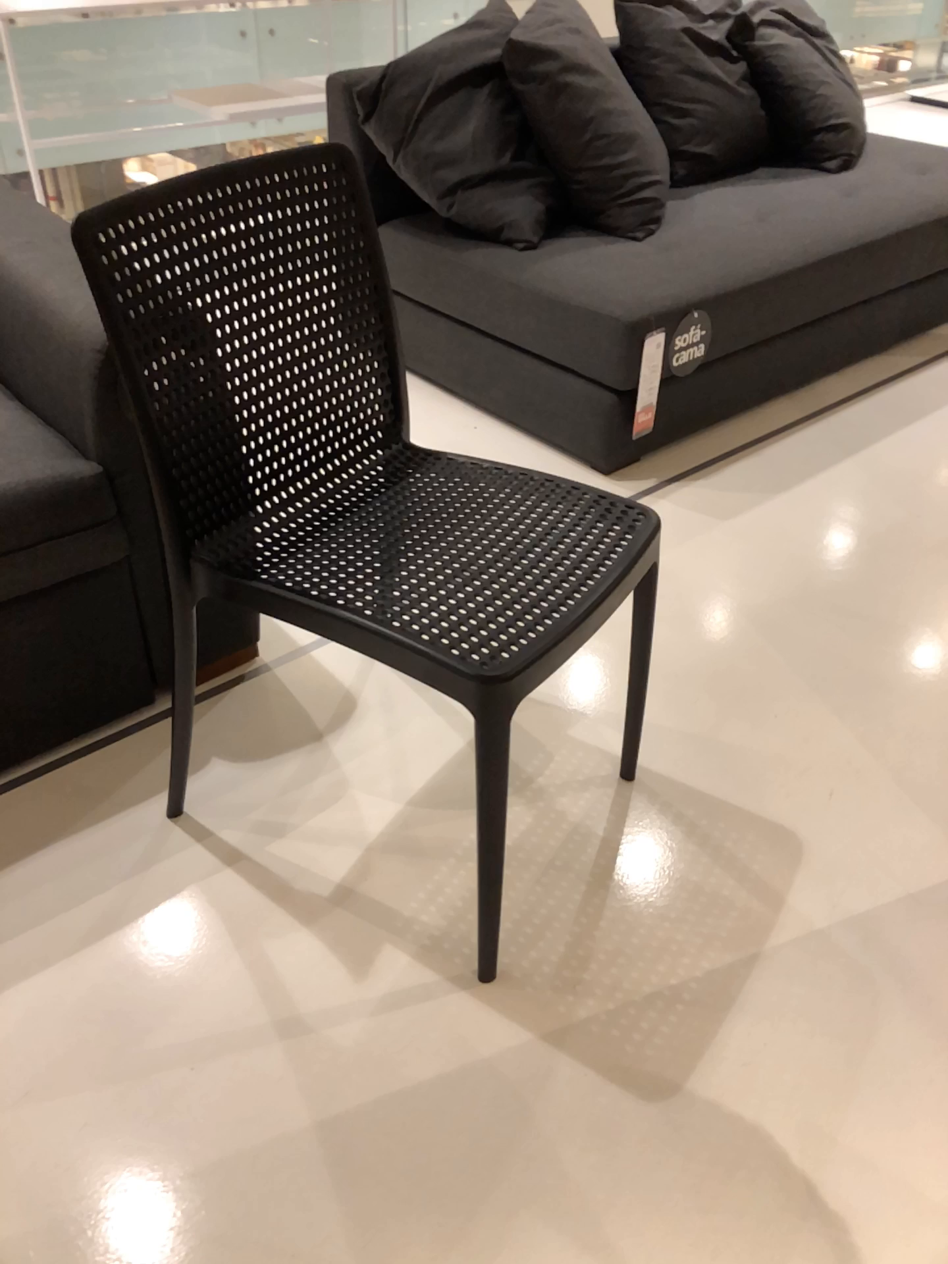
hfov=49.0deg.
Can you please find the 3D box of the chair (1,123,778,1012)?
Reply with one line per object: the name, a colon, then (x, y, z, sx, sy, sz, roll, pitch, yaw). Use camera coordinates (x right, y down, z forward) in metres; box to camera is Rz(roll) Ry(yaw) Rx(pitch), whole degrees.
chair: (-0.064, -0.108, 1.255, 0.561, 0.784, 0.533, 21, 40, 24)
